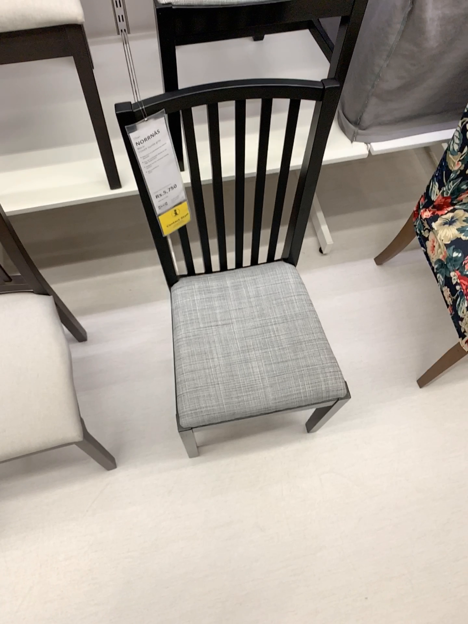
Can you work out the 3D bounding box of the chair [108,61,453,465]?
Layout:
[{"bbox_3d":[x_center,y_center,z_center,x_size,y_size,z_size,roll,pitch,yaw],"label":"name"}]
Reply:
[{"bbox_3d":[0.029,-0.005,1.177,0.440,0.899,0.550,-10,66,-6],"label":"chair"}]
